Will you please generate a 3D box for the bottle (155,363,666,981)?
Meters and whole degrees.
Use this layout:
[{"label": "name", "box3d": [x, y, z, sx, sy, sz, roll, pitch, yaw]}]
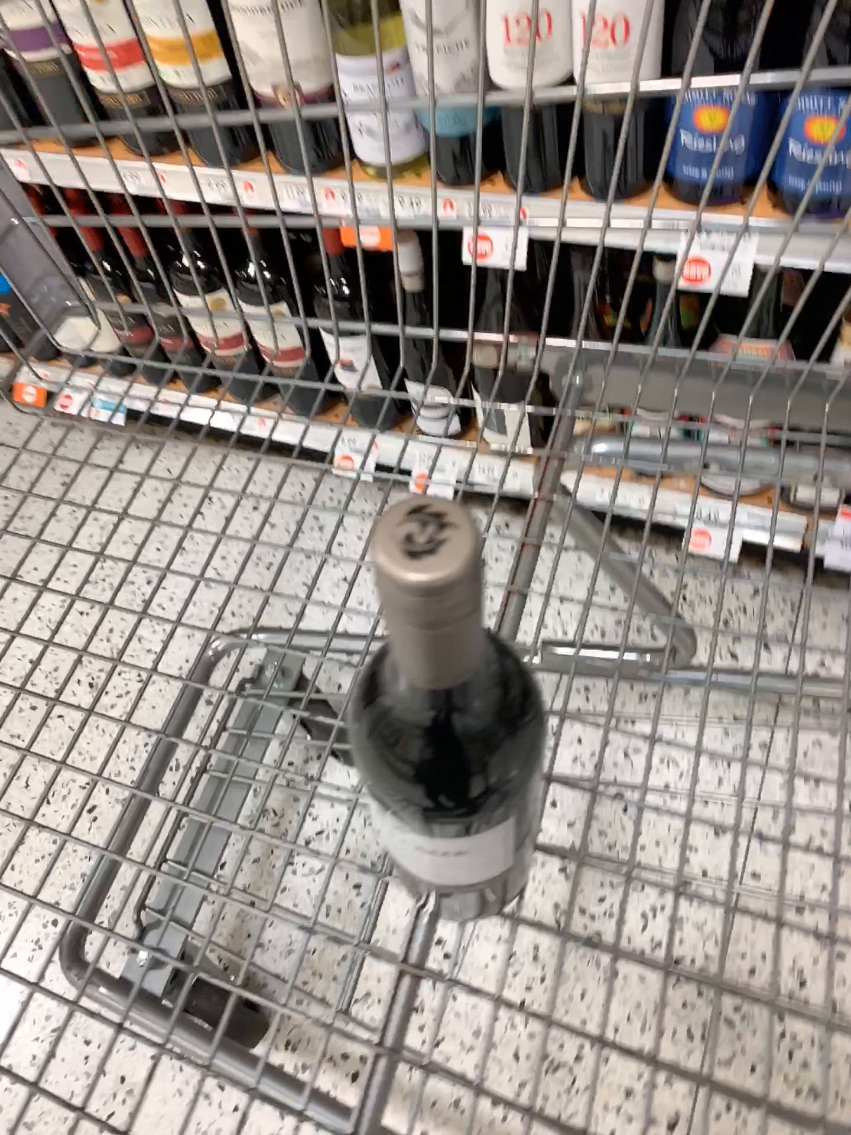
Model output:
[{"label": "bottle", "box3d": [0.014, 0.077, 0.346, 0.090, 0.317, 0.091, -3, 58, 5]}]
